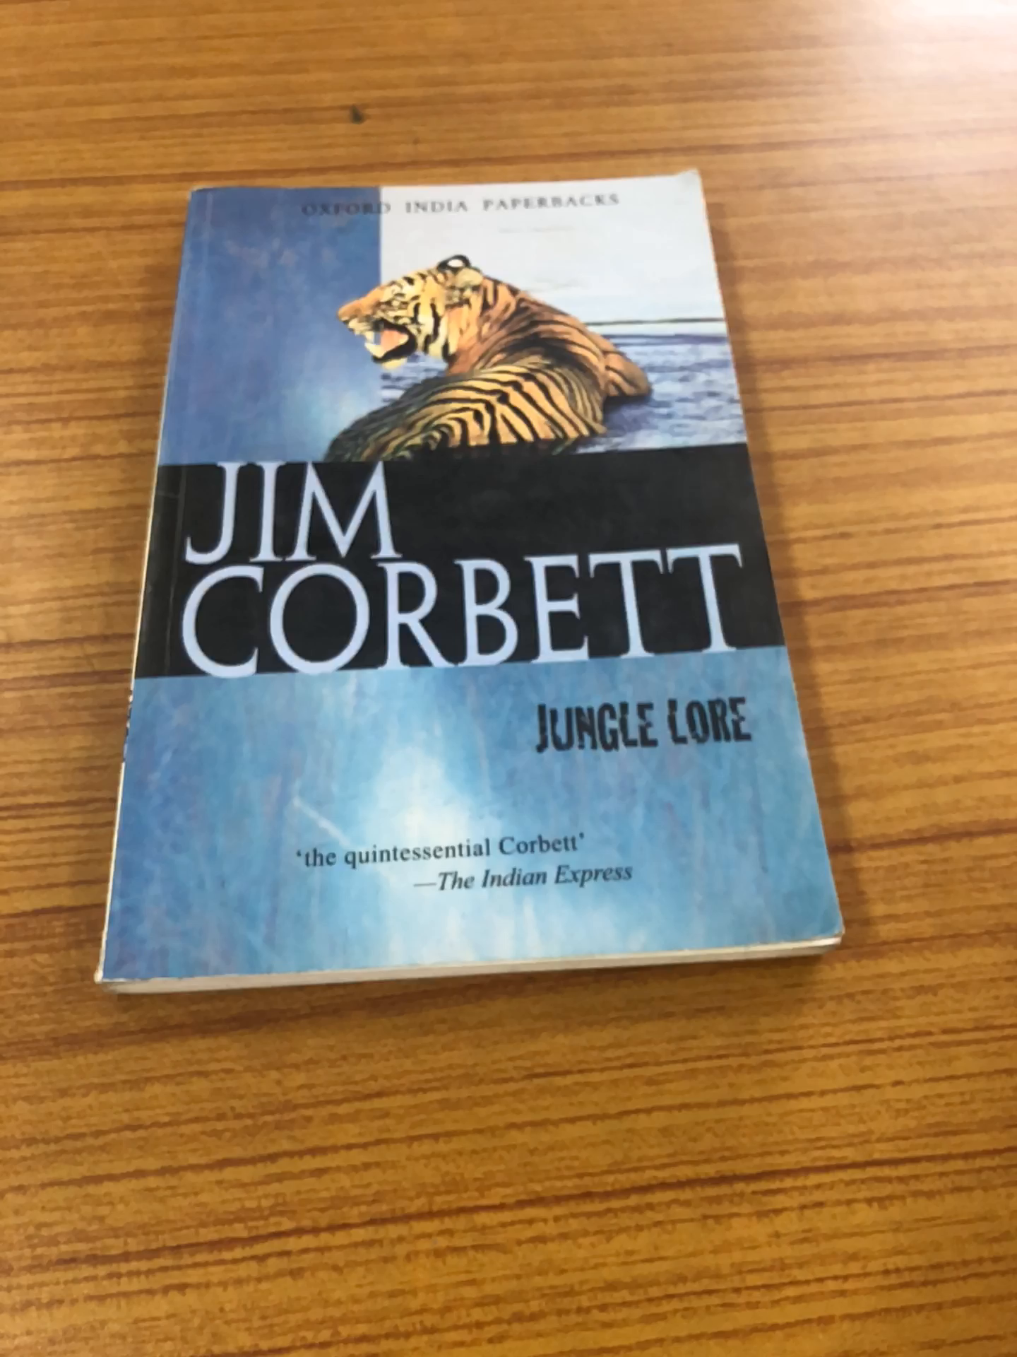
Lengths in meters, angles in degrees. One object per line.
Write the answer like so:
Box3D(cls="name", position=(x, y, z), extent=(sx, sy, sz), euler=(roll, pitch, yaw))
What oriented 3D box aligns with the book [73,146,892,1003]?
Box3D(cls="book", position=(-0.010, -0.042, 0.266), extent=(0.150, 0.010, 0.220), euler=(-3, 63, -2))
